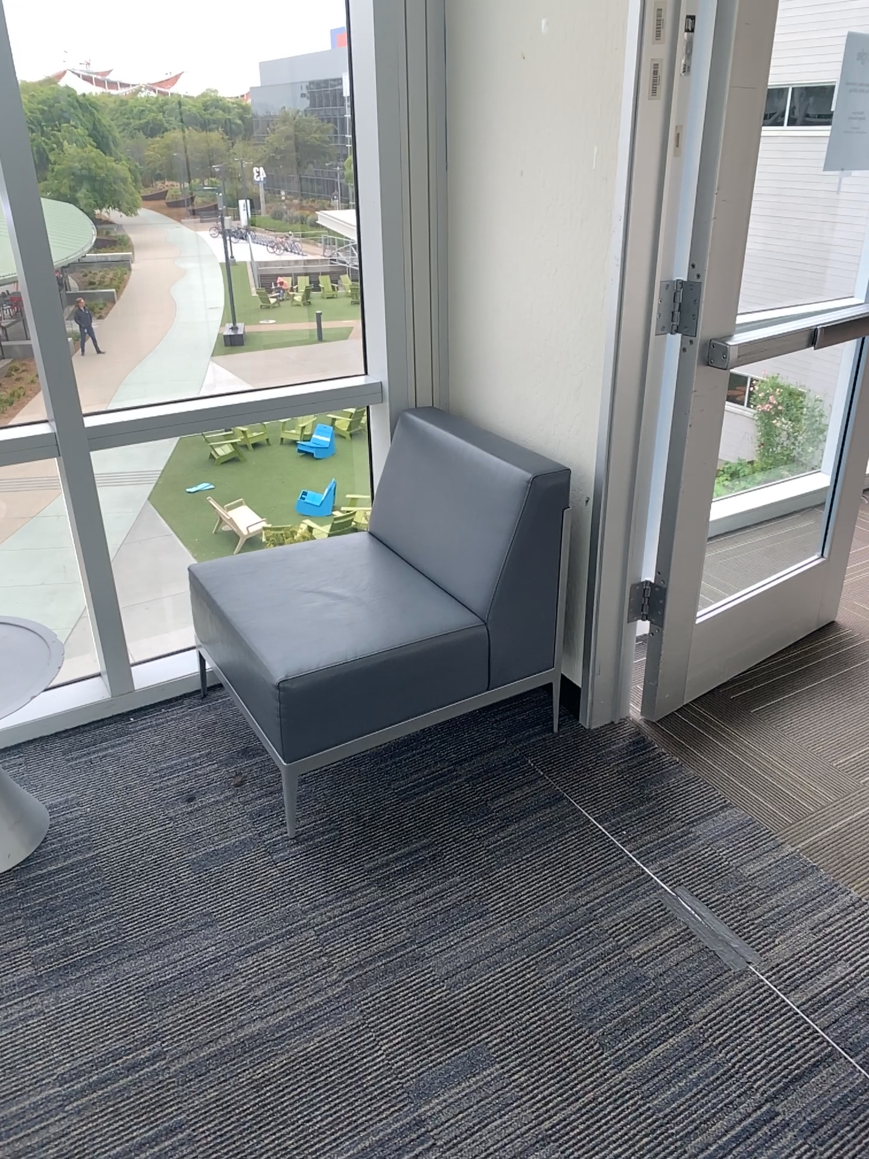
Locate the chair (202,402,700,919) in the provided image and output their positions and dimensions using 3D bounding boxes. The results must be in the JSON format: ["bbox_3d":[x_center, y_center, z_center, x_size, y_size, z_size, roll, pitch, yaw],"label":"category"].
[{"bbox_3d":[0.004,0.110,2.628,1.000,0.995,1.005,-13,25,-27],"label":"chair"}]
